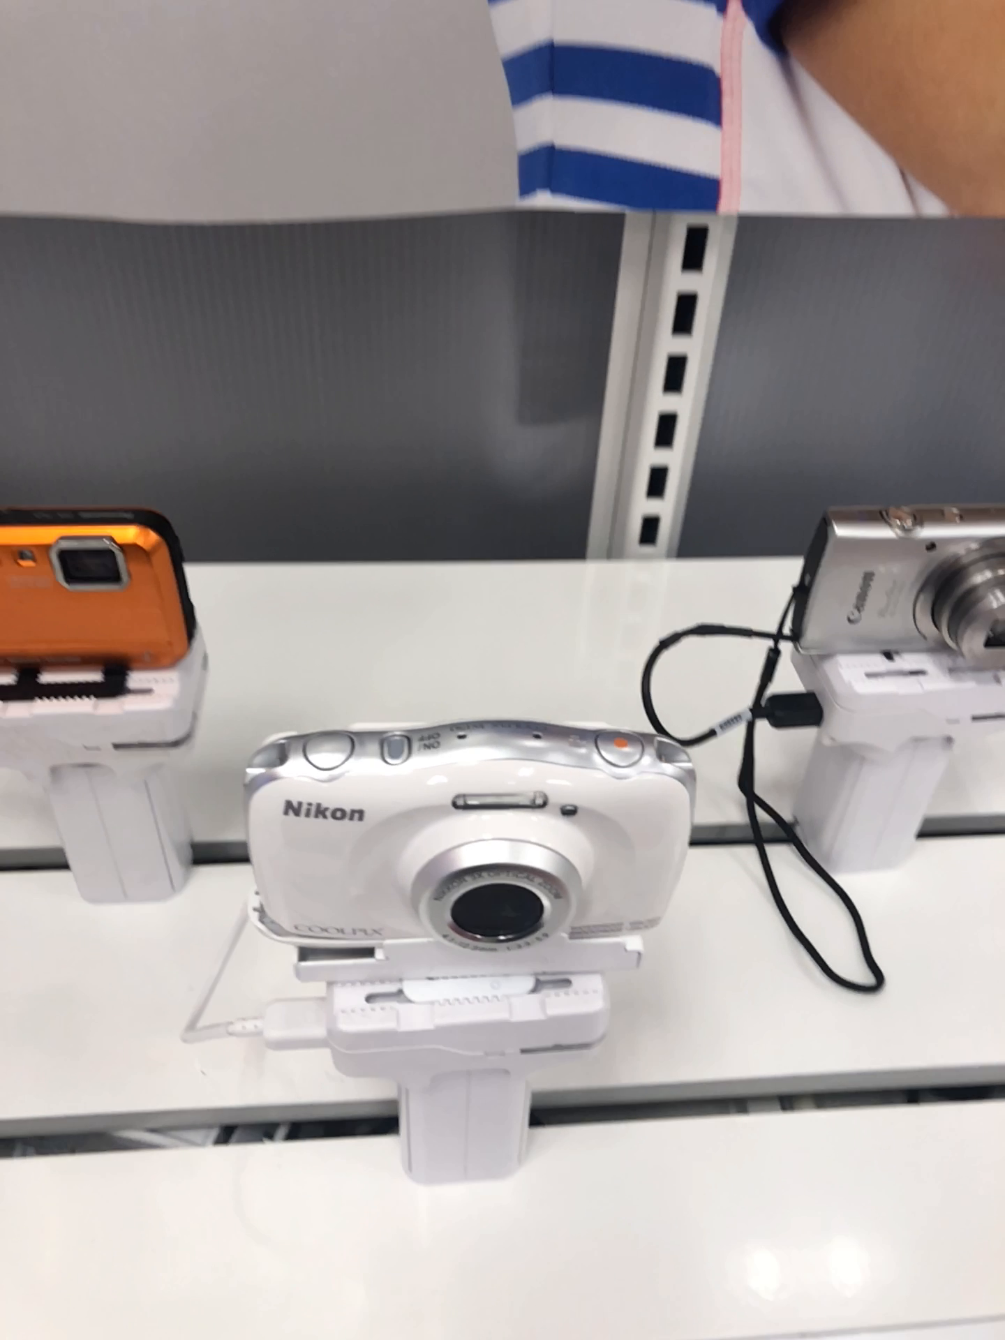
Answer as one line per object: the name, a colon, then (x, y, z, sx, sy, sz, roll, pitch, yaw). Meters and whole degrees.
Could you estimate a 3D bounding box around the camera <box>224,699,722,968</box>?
camera: (-0.008, 0.039, 0.265, 0.105, 0.056, 0.032, -1, 43, -5)
